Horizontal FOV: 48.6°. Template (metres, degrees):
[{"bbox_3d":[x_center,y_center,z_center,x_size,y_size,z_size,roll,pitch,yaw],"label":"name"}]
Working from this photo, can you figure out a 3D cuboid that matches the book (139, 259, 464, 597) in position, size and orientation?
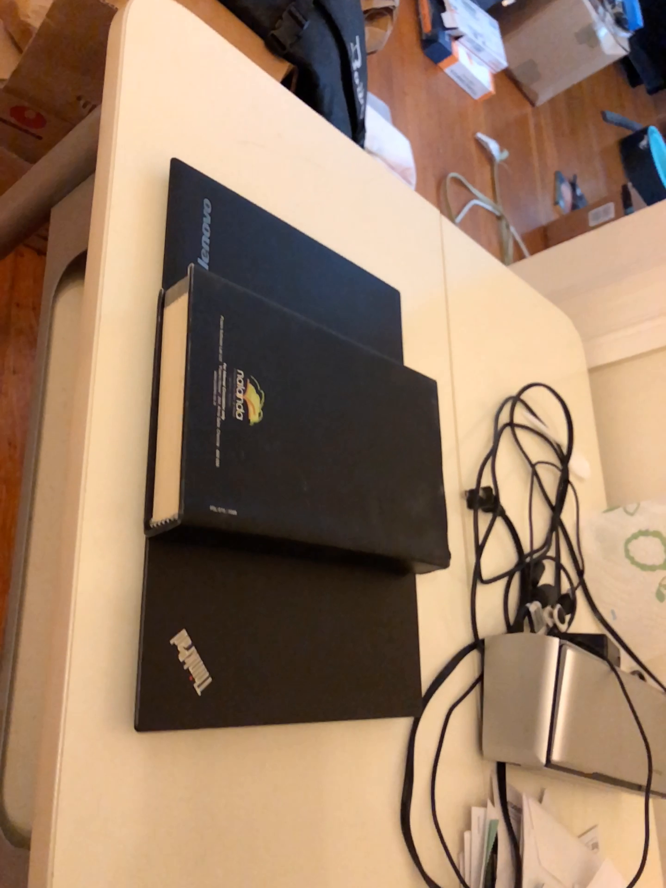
[{"bbox_3d":[-0.004,0.007,0.449,0.231,0.040,0.150,19,62,-46],"label":"book"}]
